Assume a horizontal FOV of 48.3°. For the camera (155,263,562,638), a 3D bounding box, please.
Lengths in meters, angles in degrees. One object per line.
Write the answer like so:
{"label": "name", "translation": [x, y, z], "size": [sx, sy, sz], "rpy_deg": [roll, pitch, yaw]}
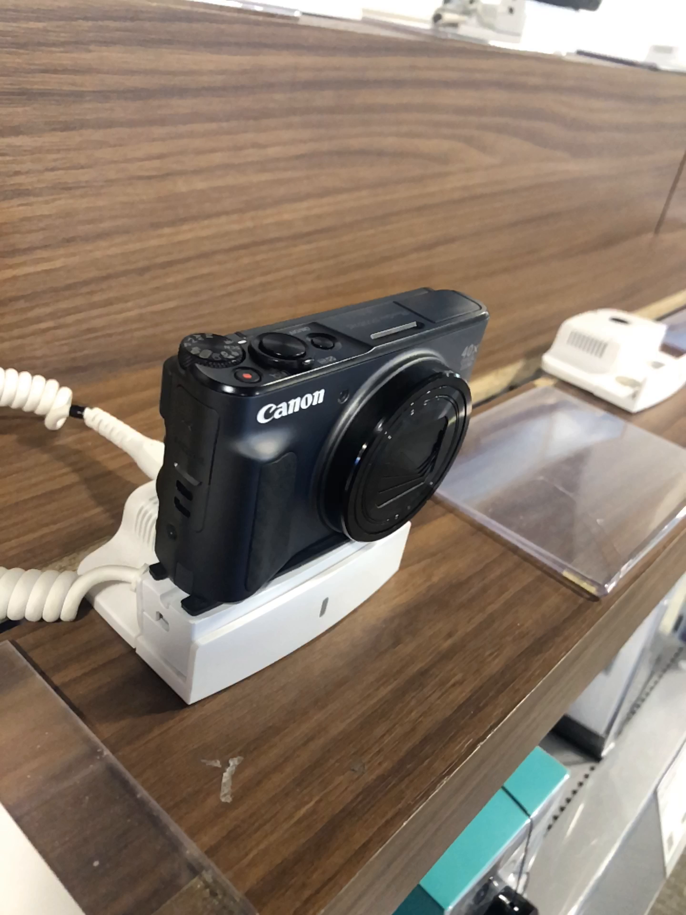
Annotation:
{"label": "camera", "translation": [0.008, -0.009, 0.208], "size": [0.037, 0.063, 0.110], "rpy_deg": [34, 38, 28]}
